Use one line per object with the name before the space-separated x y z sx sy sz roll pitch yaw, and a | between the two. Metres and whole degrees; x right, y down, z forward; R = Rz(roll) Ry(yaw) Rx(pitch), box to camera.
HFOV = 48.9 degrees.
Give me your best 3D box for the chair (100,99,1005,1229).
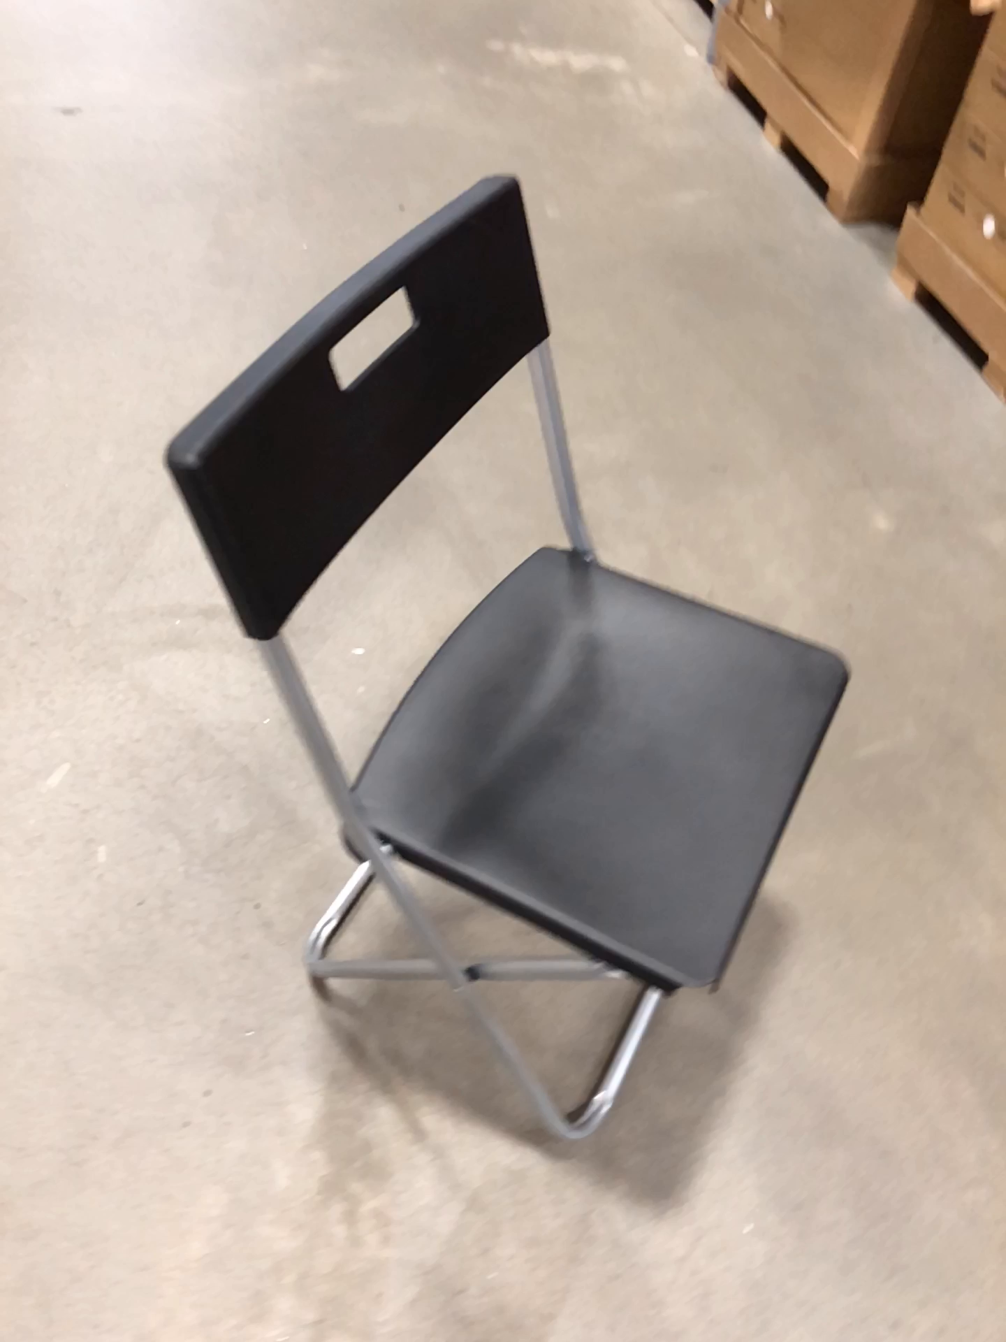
chair | 0.067 0.044 0.952 0.460 0.758 0.461 25 53 14
